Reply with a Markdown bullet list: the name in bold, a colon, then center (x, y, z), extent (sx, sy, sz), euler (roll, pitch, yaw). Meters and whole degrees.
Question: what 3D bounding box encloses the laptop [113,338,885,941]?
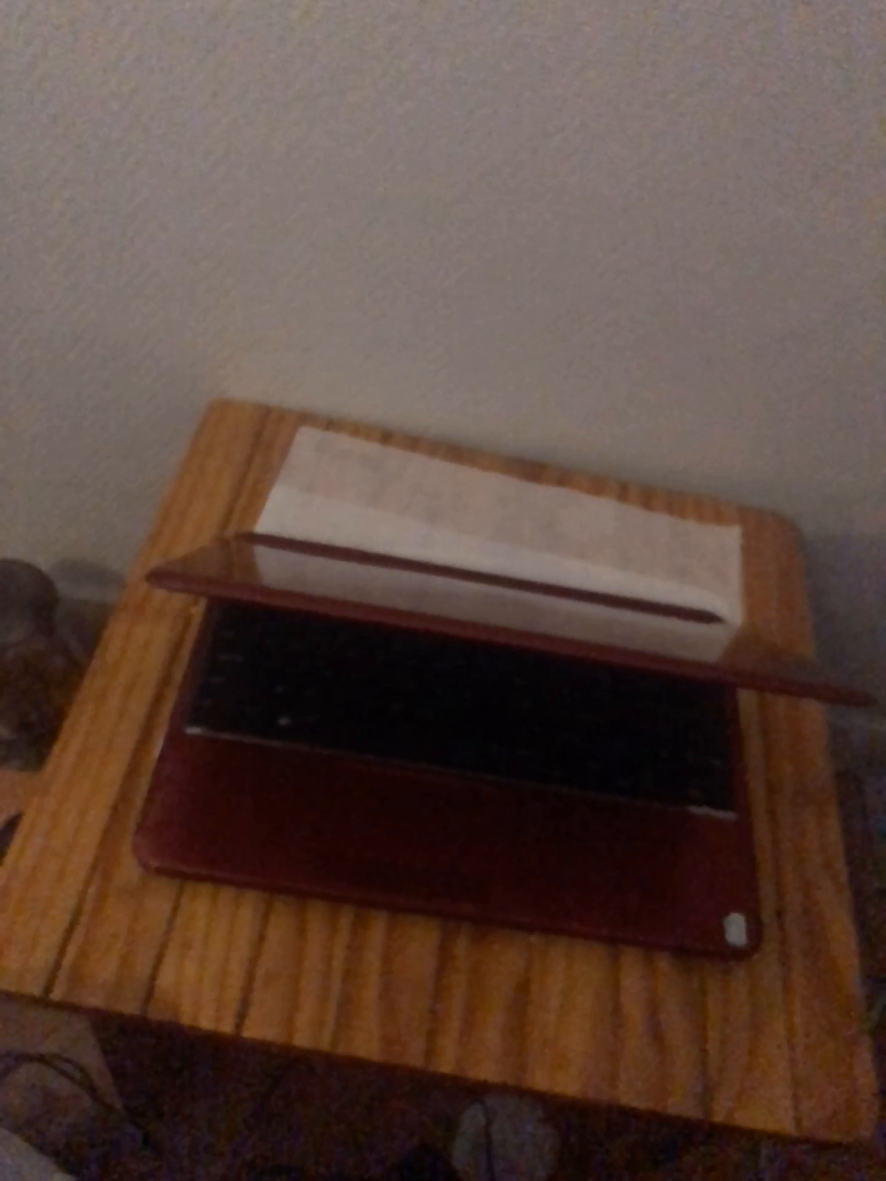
- **laptop**: center (0.040, 0.031, 0.593), extent (0.372, 0.168, 0.254), euler (10, 49, -7)
